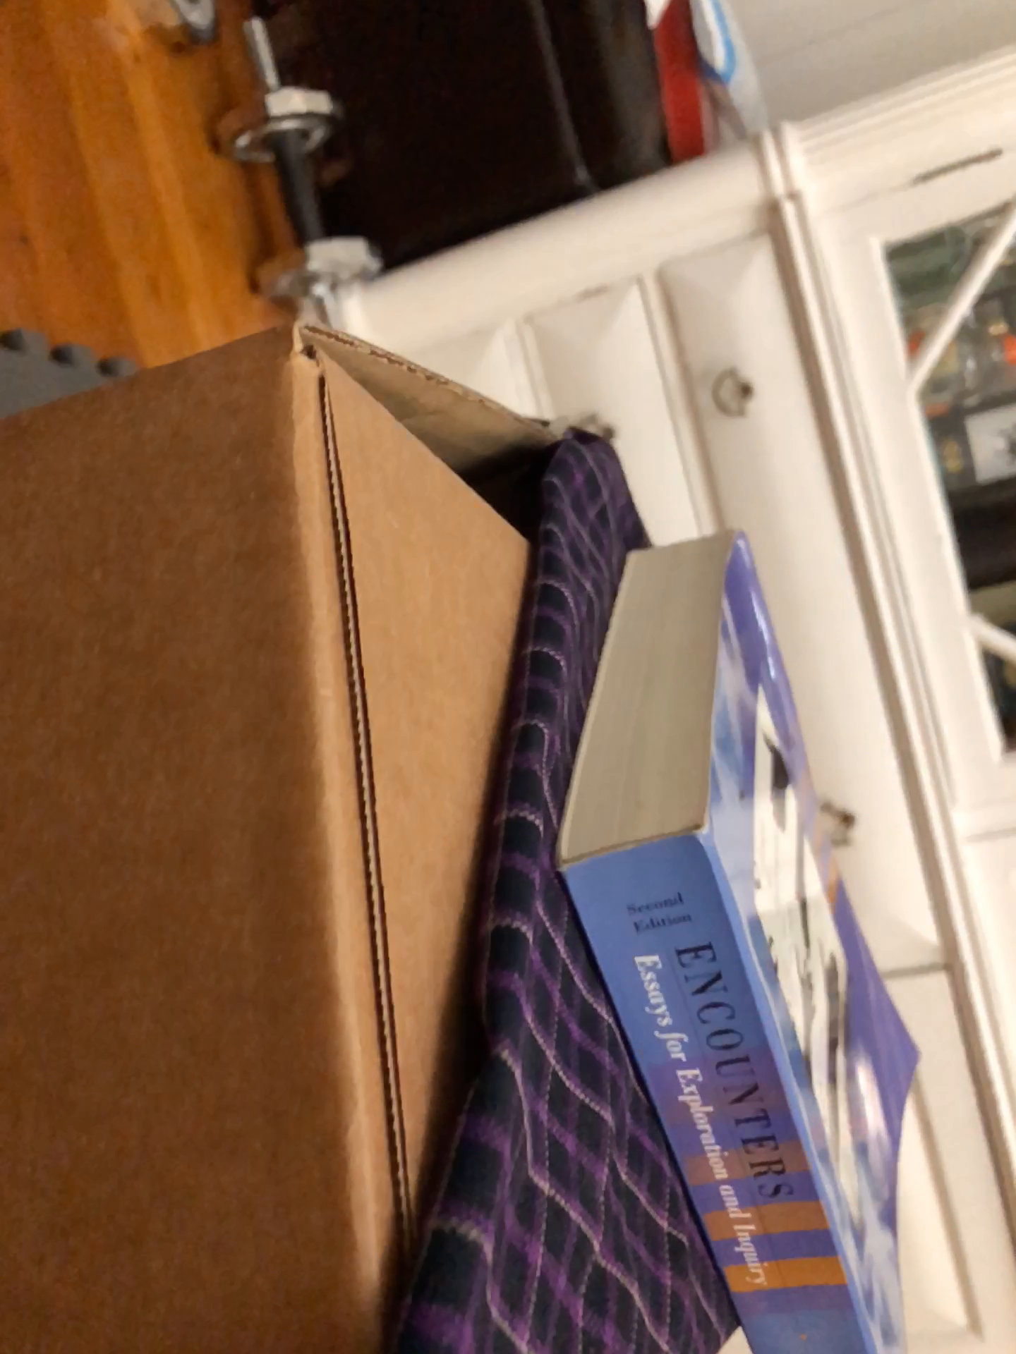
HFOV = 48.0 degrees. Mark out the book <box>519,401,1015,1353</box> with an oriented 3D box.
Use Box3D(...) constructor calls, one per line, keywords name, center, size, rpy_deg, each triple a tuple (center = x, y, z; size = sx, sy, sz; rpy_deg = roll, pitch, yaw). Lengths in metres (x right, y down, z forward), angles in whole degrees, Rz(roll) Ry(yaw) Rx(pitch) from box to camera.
Box3D(name="book", center=(0.084, 0.080, 0.326), size=(0.201, 0.040, 0.260), rpy_deg=(-73, 144, -56))
